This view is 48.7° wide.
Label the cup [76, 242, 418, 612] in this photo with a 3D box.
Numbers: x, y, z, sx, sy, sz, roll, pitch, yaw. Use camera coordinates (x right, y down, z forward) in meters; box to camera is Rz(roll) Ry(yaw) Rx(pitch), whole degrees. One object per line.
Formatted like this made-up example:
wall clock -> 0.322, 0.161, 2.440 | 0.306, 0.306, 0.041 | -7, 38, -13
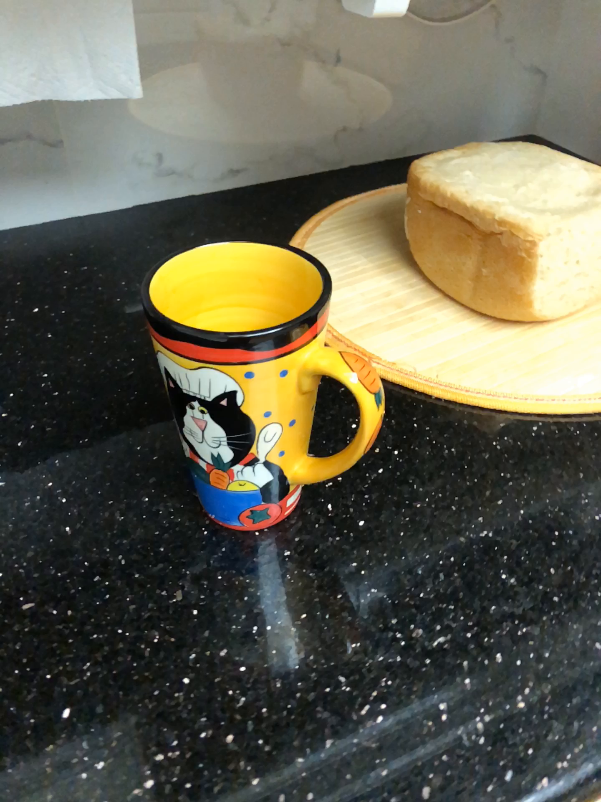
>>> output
cup -> -0.021, 0.011, 0.348 | 0.130, 0.139, 0.090 | 15, 42, 19
